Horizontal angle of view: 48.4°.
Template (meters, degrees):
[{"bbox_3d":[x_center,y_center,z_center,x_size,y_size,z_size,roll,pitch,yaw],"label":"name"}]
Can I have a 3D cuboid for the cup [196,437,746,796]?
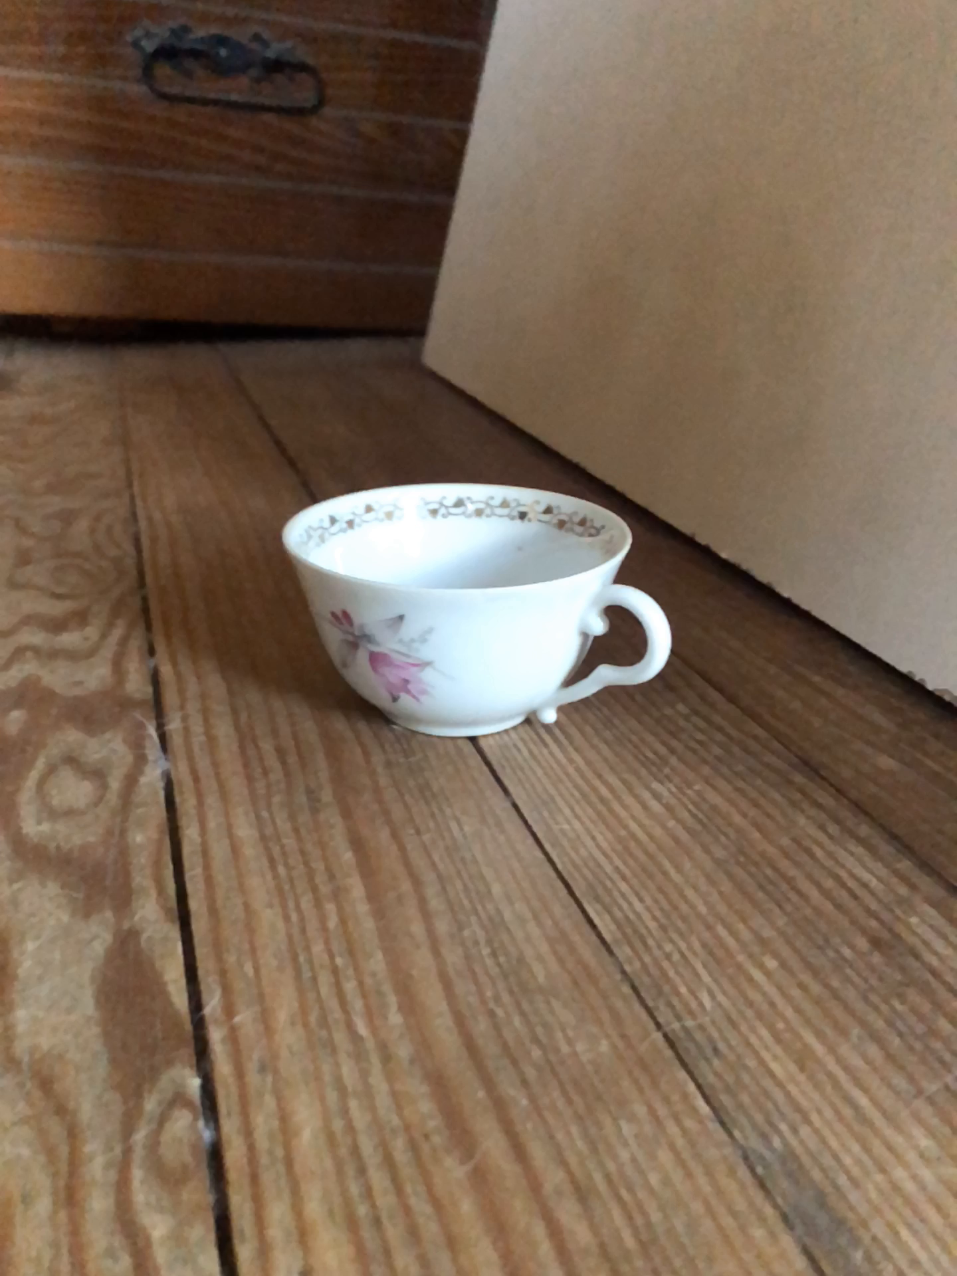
[{"bbox_3d":[-0.001,-0.013,0.256,0.100,0.040,0.080,17,30,33],"label":"cup"}]
